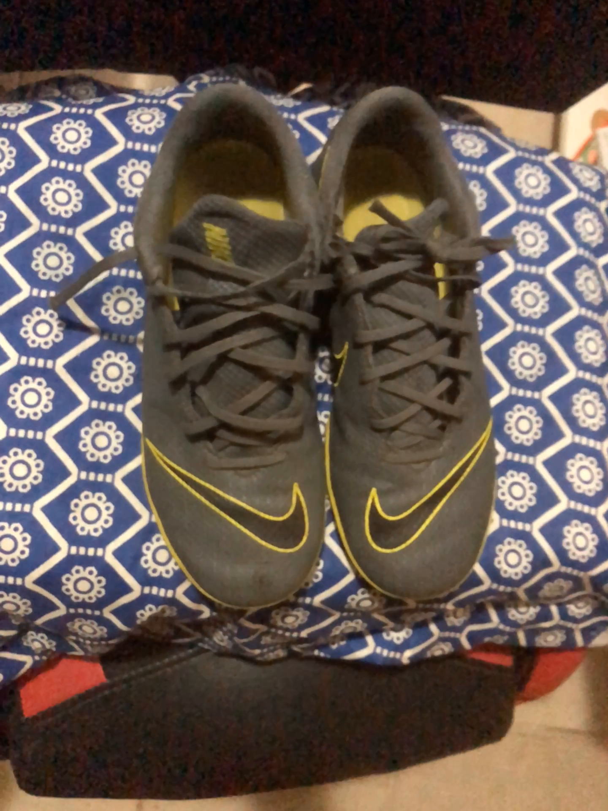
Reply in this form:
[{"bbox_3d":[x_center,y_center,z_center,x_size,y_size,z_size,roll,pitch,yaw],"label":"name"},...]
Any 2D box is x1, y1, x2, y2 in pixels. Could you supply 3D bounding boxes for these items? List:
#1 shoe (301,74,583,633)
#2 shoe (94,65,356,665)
[{"bbox_3d":[0.058,-0.025,0.337,0.090,0.090,0.240,-4,84,-8],"label":"shoe"},{"bbox_3d":[-0.039,-0.019,0.318,0.090,0.090,0.240,-4,84,-8],"label":"shoe"}]
